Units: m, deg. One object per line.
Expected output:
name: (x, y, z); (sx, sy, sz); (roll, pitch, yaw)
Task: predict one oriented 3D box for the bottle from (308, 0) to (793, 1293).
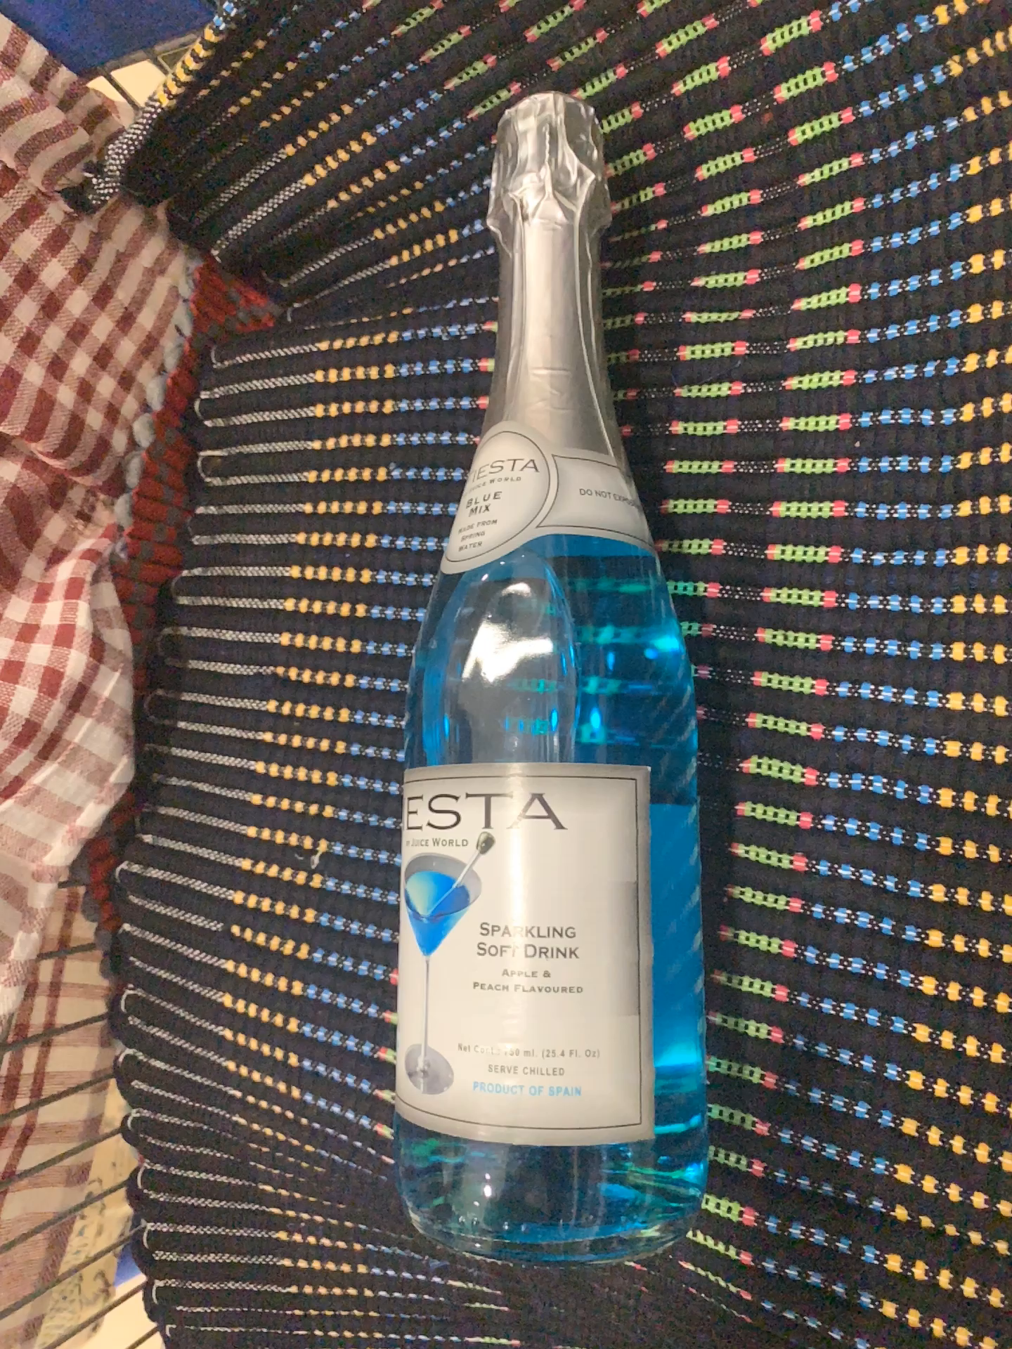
bottle: (0.017, -0.015, 0.303); (0.080, 0.100, 0.310); (-9, 75, 46)
